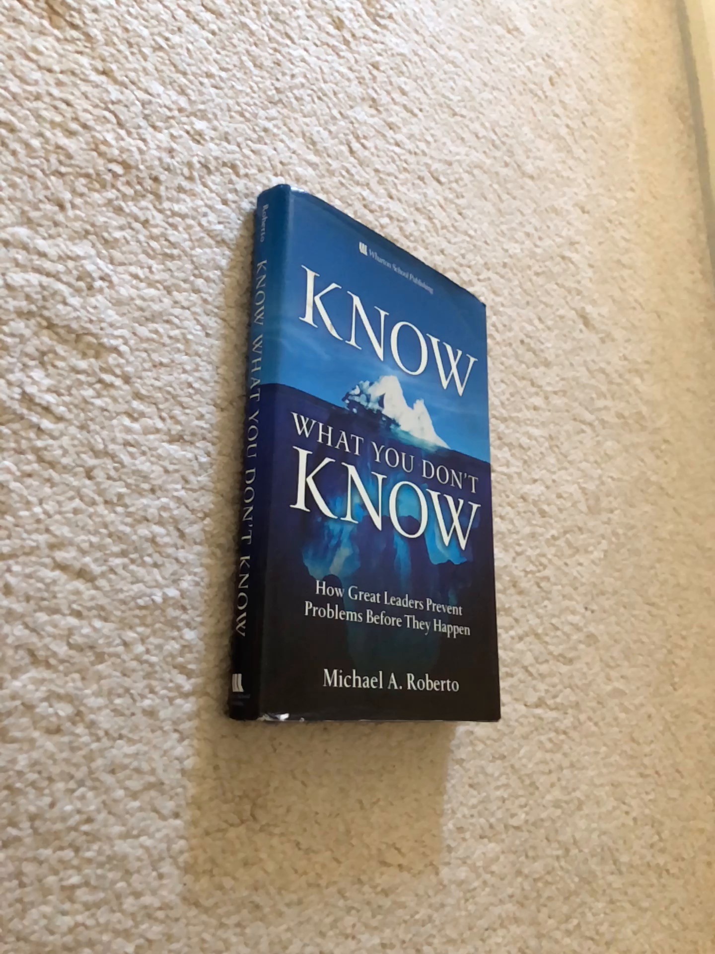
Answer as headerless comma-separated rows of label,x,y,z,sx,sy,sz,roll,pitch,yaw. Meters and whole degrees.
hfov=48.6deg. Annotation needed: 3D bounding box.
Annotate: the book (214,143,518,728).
book,0.014,-0.009,0.376,0.161,0.034,0.240,17,68,-45
